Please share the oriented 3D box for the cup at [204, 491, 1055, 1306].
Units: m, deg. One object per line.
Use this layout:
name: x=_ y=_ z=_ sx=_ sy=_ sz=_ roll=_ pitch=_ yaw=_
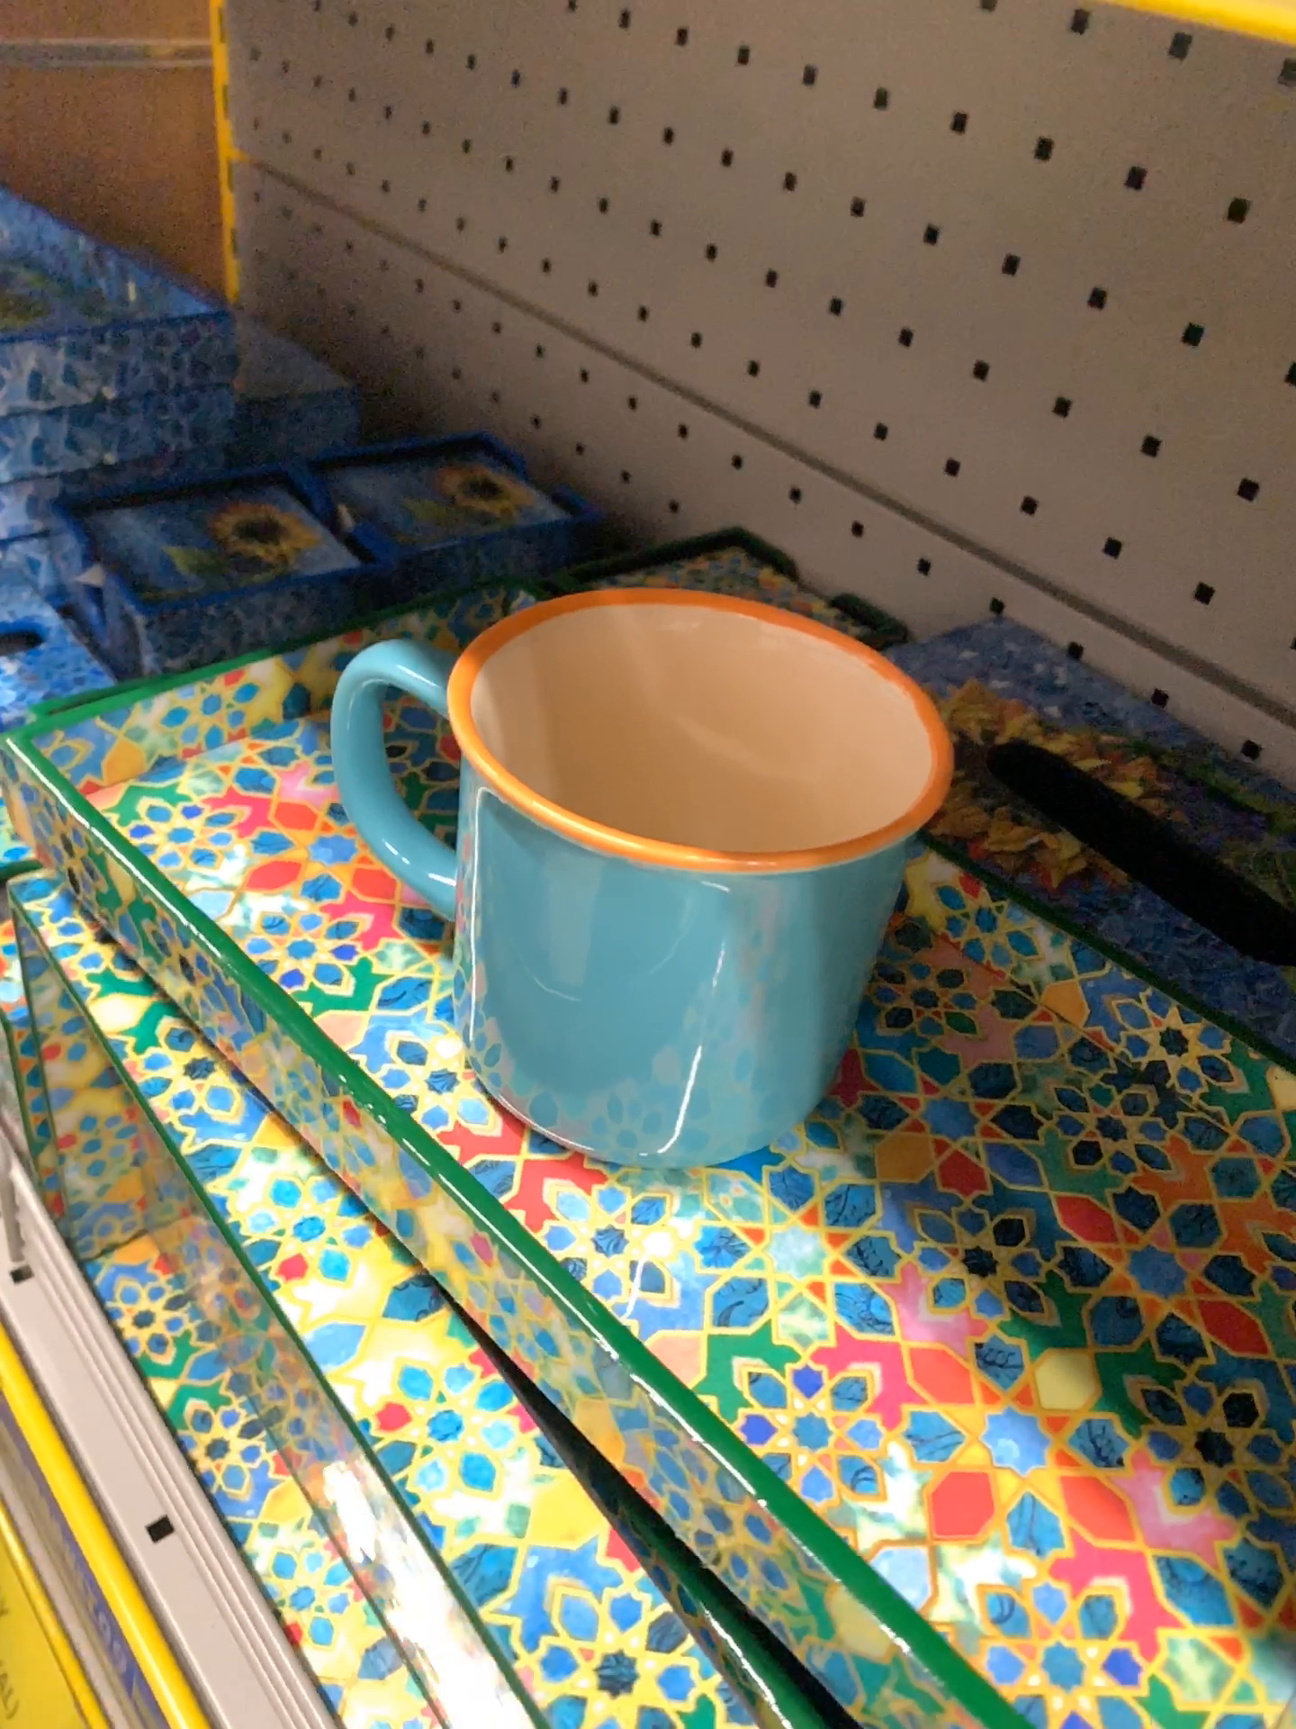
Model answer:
cup: x=-0.007 y=-0.003 z=0.259 sx=0.120 sy=0.080 sz=0.090 roll=30 pitch=42 yaw=25
